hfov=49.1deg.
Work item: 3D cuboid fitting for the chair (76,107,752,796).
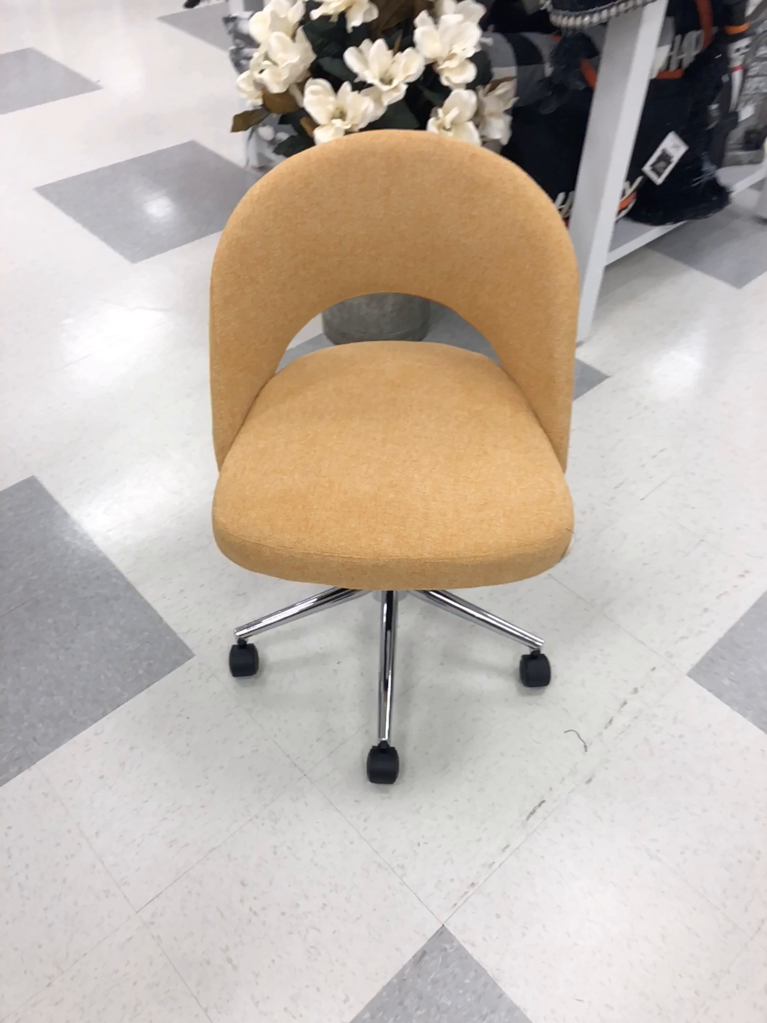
[{"bbox_3d":[0.016,-0.068,1.213,0.581,0.749,0.639,0,46,-2],"label":"chair"}]
